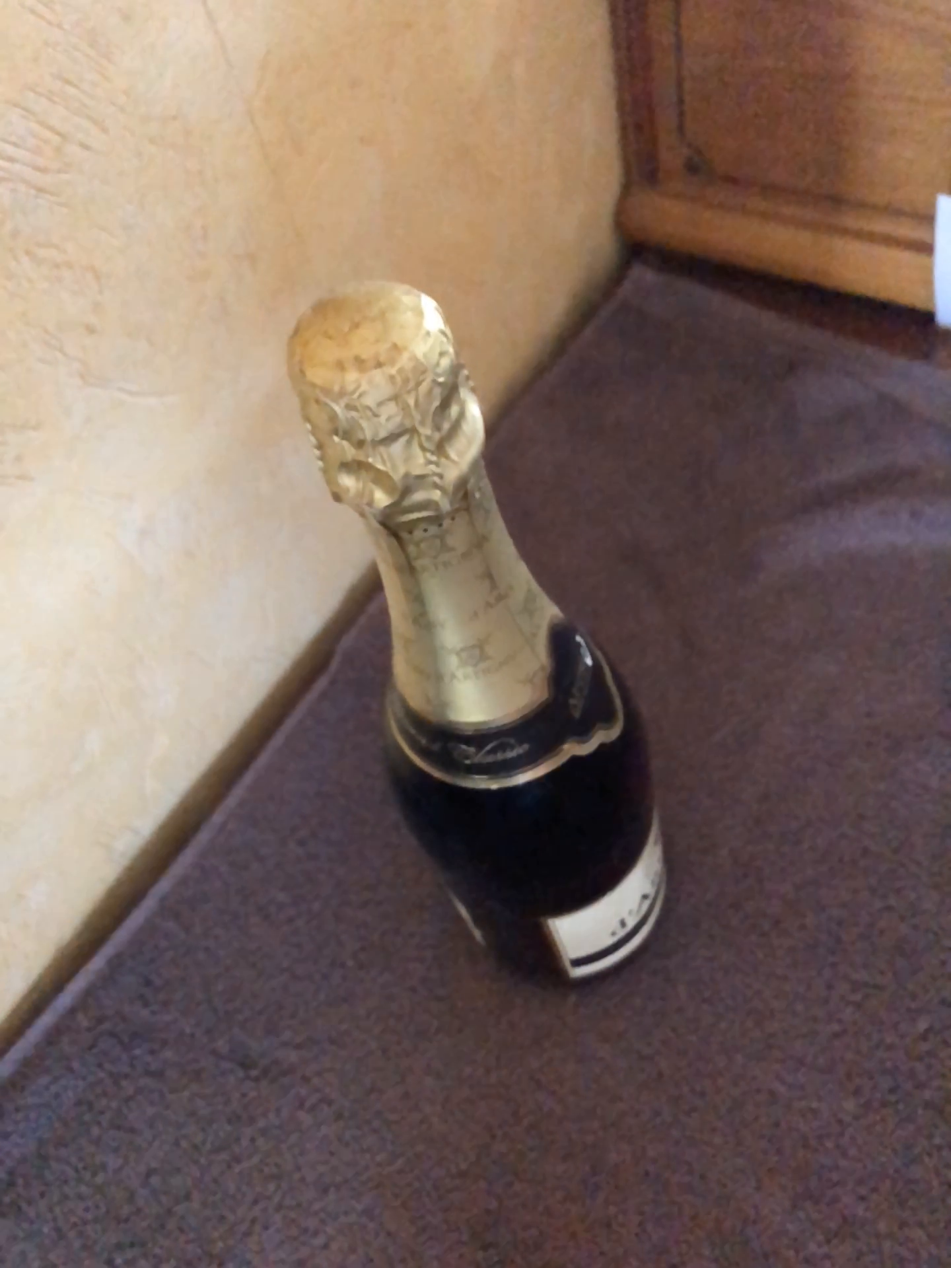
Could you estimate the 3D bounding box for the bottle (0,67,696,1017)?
[{"bbox_3d":[0.005,0.016,0.318,0.100,0.319,0.100,-6,57,9],"label":"bottle"}]
